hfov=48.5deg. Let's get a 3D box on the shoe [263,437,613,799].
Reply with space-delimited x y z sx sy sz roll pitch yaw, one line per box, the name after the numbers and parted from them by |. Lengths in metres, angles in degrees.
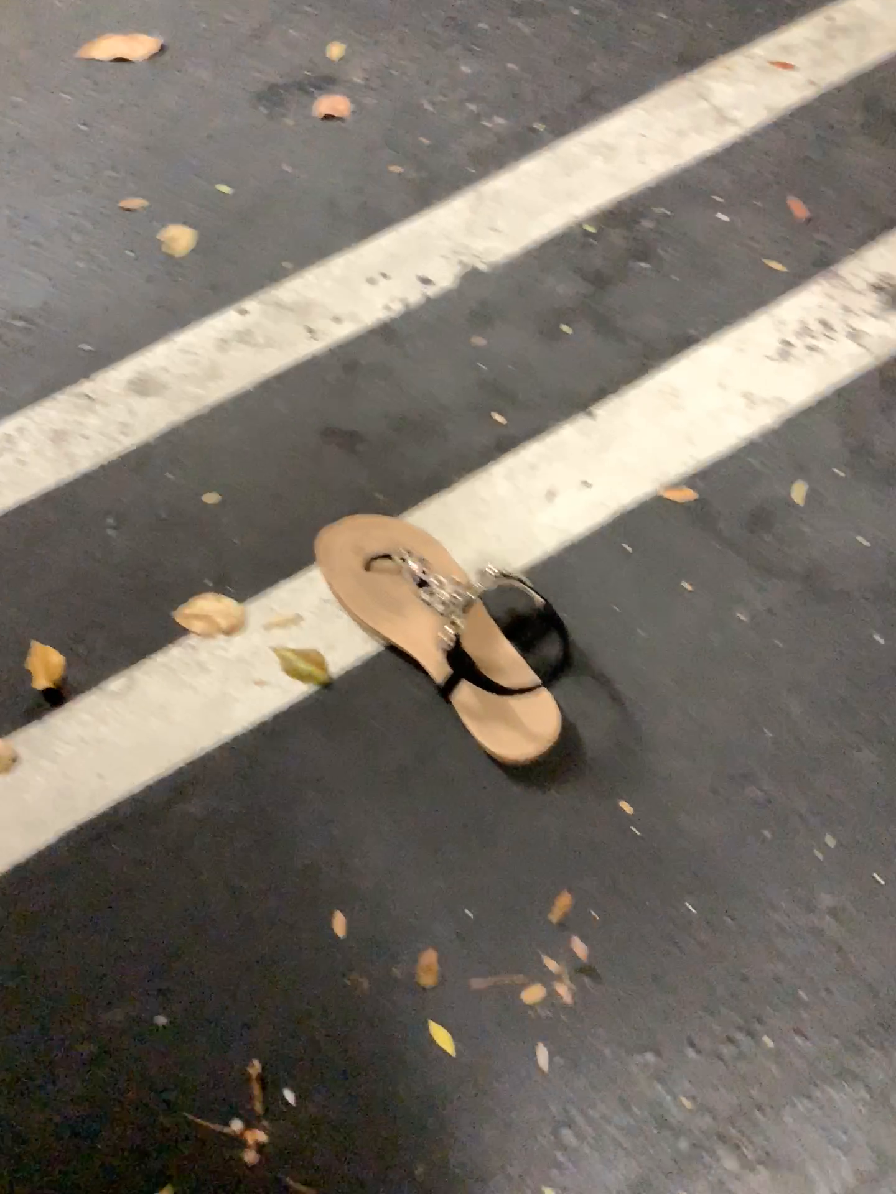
-0.011 0.010 0.755 0.120 0.060 0.260 -39 68 -11 | shoe
